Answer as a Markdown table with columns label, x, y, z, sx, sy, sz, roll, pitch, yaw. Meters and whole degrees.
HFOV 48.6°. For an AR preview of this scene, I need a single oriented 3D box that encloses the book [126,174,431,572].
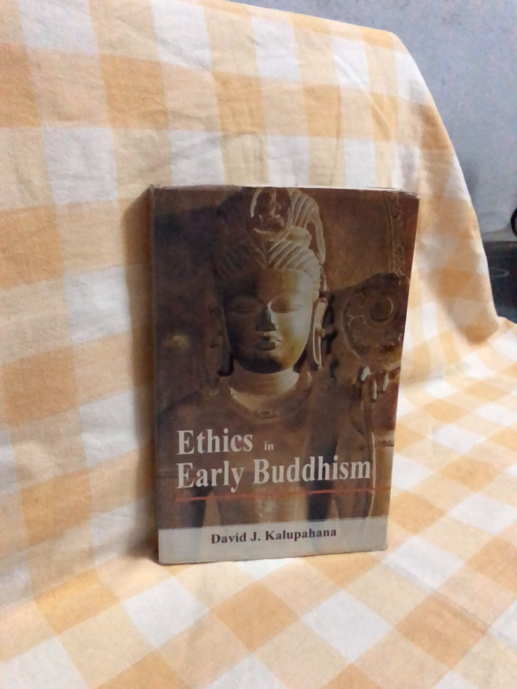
| label | x | y | z | sx | sy | sz | roll | pitch | yaw |
| --- | --- | --- | --- | --- | --- | --- | --- | --- | --- |
| book | 0.008 | 0.023 | 0.335 | 0.160 | 0.229 | 0.020 | -1 | 16 | -9 |
